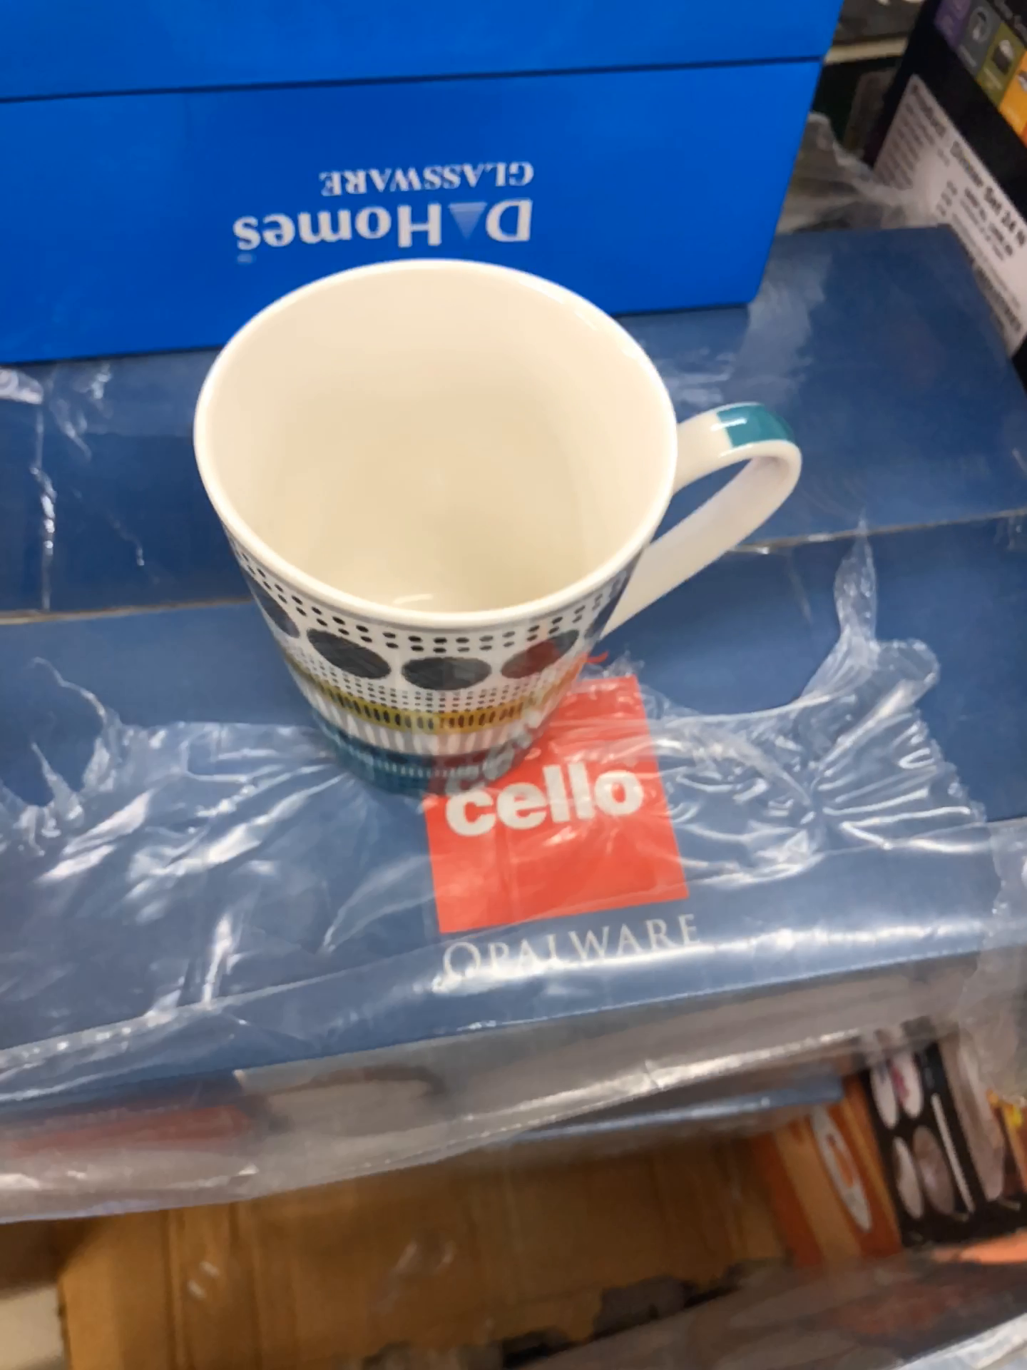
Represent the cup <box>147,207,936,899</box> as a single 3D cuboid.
[{"bbox_3d":[0.000,-0.025,0.245,0.120,0.090,0.090,-13,65,-11],"label":"cup"}]
